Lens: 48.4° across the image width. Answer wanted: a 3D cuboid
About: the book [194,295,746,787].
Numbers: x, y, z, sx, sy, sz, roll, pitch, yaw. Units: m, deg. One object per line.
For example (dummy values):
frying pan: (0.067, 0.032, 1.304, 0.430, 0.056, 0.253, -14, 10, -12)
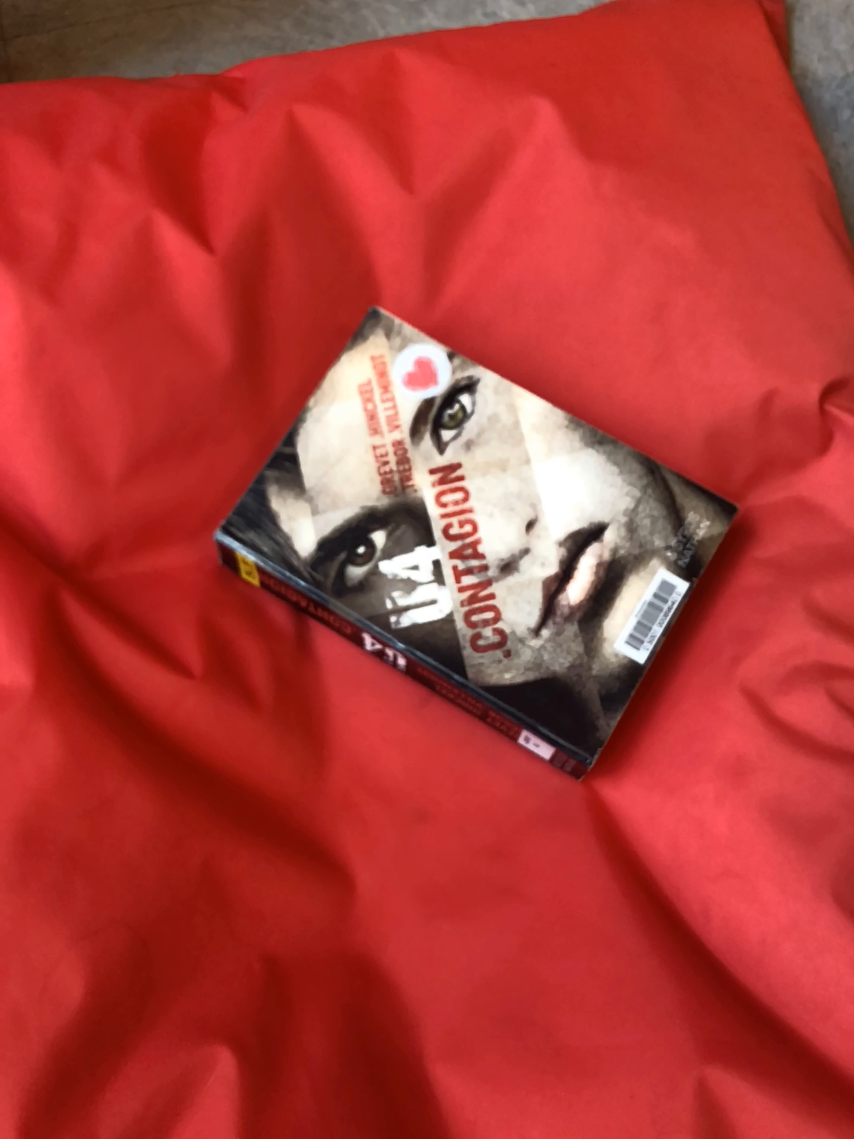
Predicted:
book: (0.022, -0.020, 0.497, 0.225, 0.038, 0.166, 30, 78, 11)
